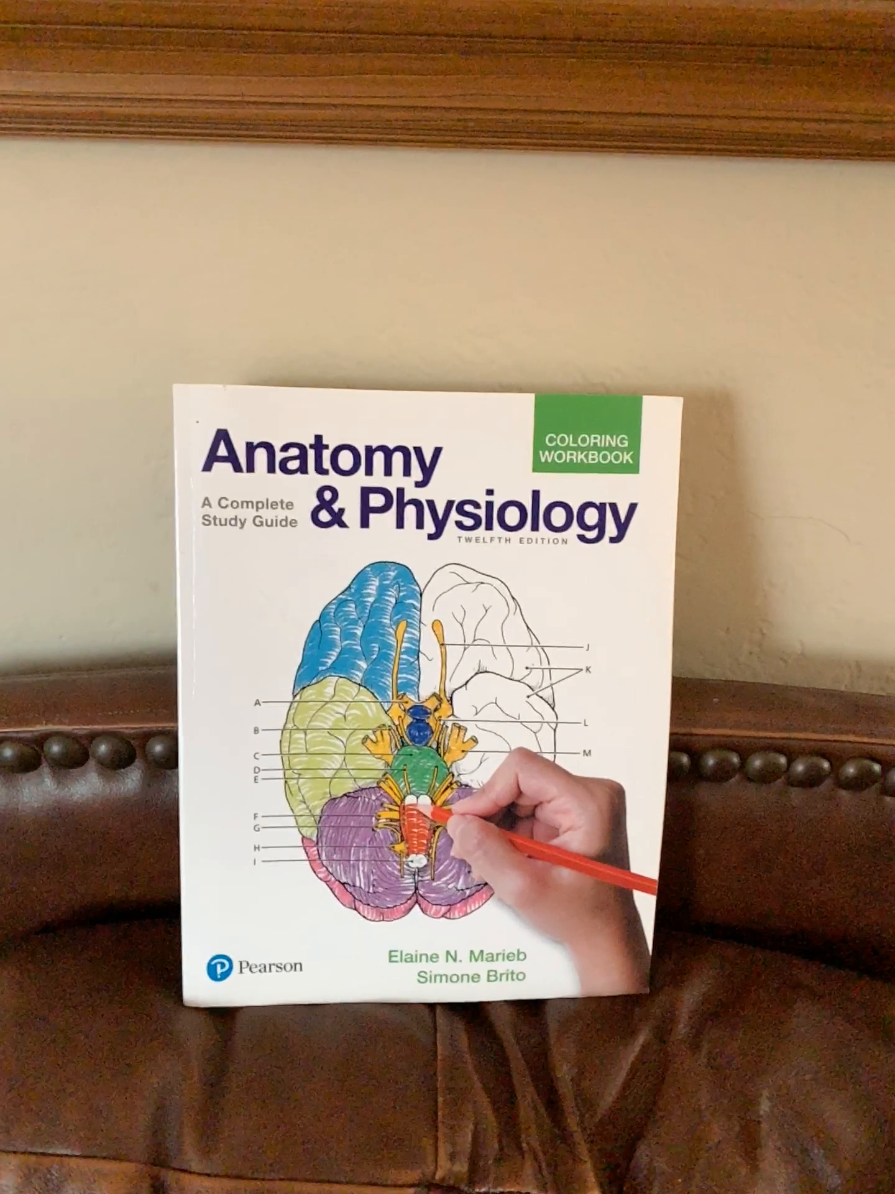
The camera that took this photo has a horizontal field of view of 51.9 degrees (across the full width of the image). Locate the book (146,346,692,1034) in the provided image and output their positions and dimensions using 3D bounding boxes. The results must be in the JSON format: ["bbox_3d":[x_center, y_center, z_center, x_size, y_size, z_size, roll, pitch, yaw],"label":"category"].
[{"bbox_3d":[-0.010,0.039,0.417,0.220,0.290,0.060,-1,7,-3],"label":"book"}]
